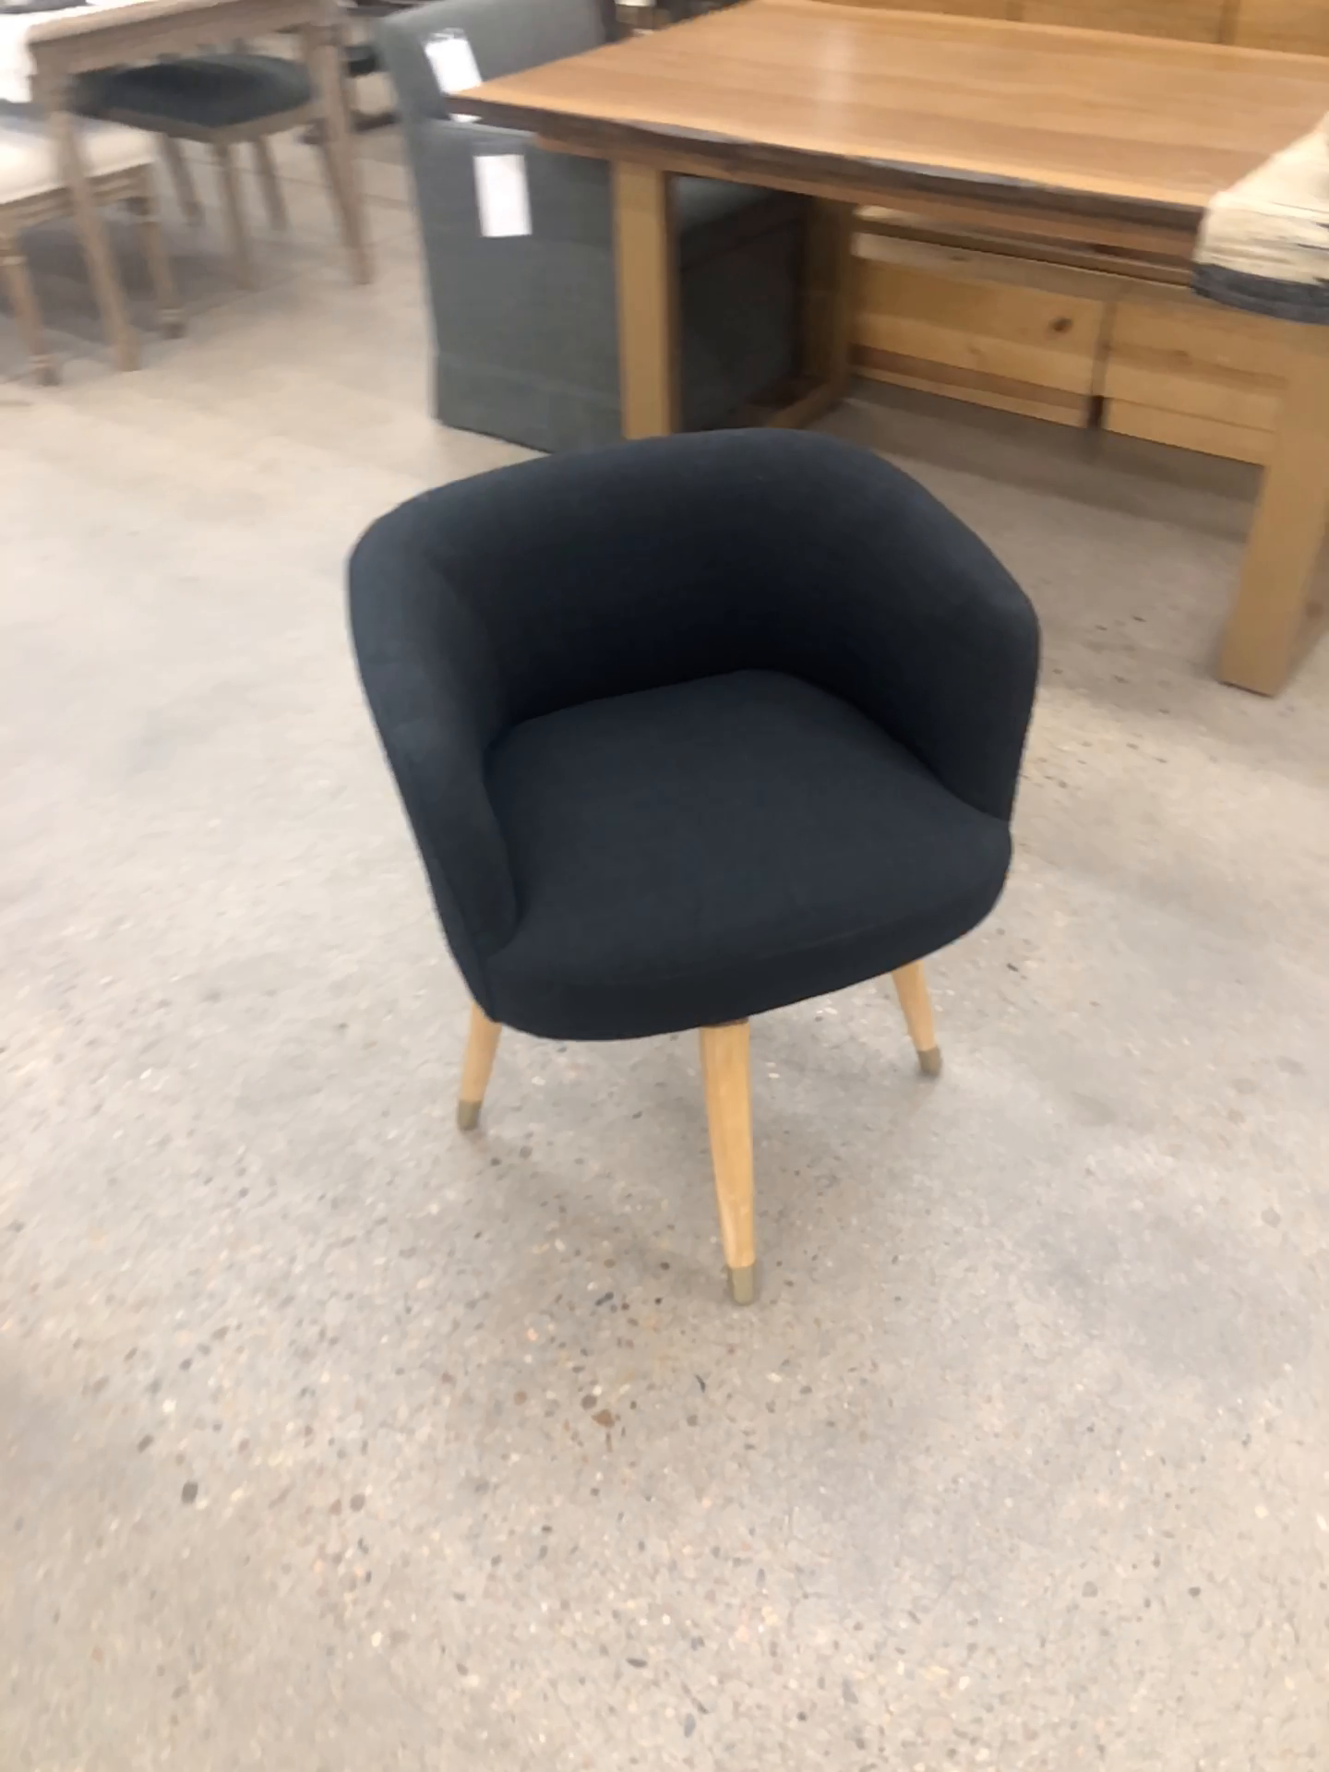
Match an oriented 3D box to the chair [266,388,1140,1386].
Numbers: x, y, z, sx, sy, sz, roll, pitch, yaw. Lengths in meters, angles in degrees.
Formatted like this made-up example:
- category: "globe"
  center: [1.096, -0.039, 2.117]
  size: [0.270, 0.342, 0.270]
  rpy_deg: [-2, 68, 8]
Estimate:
- category: "chair"
  center: [-0.009, -0.023, 1.444]
  size: [0.602, 0.670, 0.606]
  rpy_deg: [-11, 40, -10]
